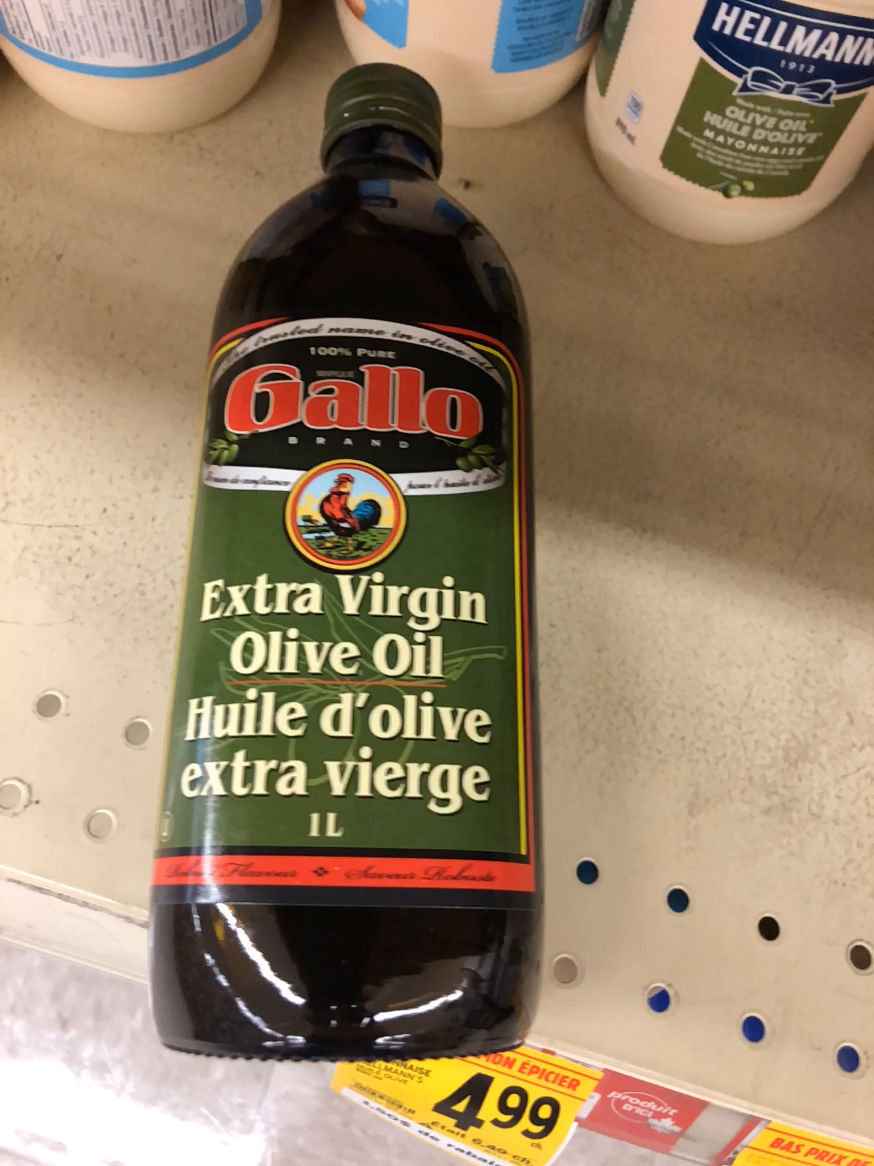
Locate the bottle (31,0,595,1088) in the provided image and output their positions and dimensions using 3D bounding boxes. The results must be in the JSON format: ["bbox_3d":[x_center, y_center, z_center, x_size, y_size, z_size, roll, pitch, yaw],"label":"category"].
[{"bbox_3d":[-0.021,-0.030,0.246,0.090,0.090,0.271,2,69,-4],"label":"bottle"}]
